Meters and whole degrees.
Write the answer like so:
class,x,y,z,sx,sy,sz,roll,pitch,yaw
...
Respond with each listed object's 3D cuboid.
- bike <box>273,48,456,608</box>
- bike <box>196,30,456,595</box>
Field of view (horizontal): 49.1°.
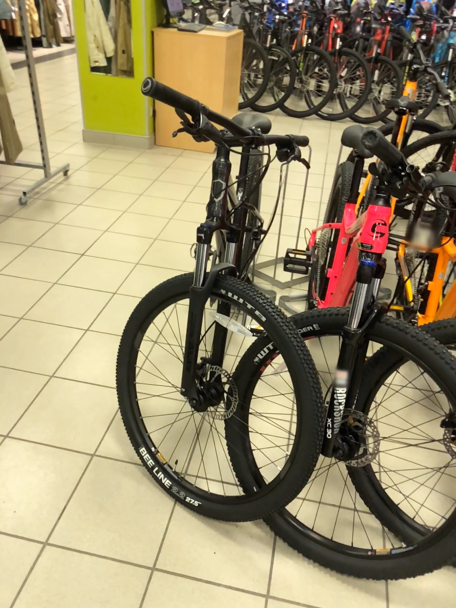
class,x,y,z,sx,sy,sz,roll,pitch,yaw
bike,0.631,-0.156,1.657,0.652,1.074,1.573,3,31,-2
bike,0.241,-0.204,1.756,0.684,1.101,1.588,3,34,-2
